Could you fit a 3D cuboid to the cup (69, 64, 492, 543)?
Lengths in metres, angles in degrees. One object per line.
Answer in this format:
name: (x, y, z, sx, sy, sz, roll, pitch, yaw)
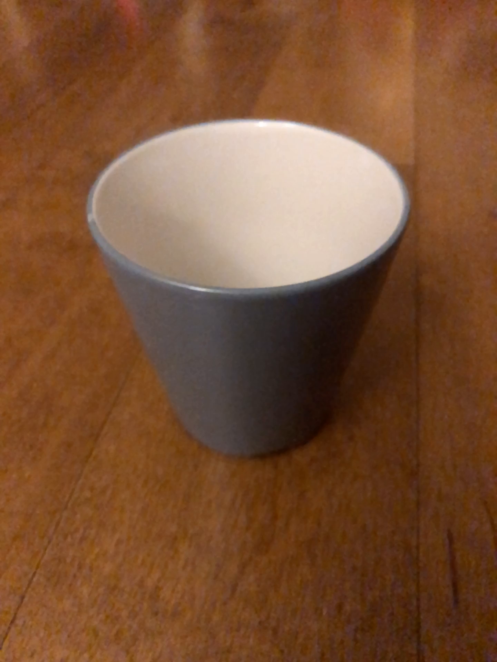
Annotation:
cup: (-0.004, -0.020, 0.215, 0.100, 0.099, 0.141, -11, 45, -9)
